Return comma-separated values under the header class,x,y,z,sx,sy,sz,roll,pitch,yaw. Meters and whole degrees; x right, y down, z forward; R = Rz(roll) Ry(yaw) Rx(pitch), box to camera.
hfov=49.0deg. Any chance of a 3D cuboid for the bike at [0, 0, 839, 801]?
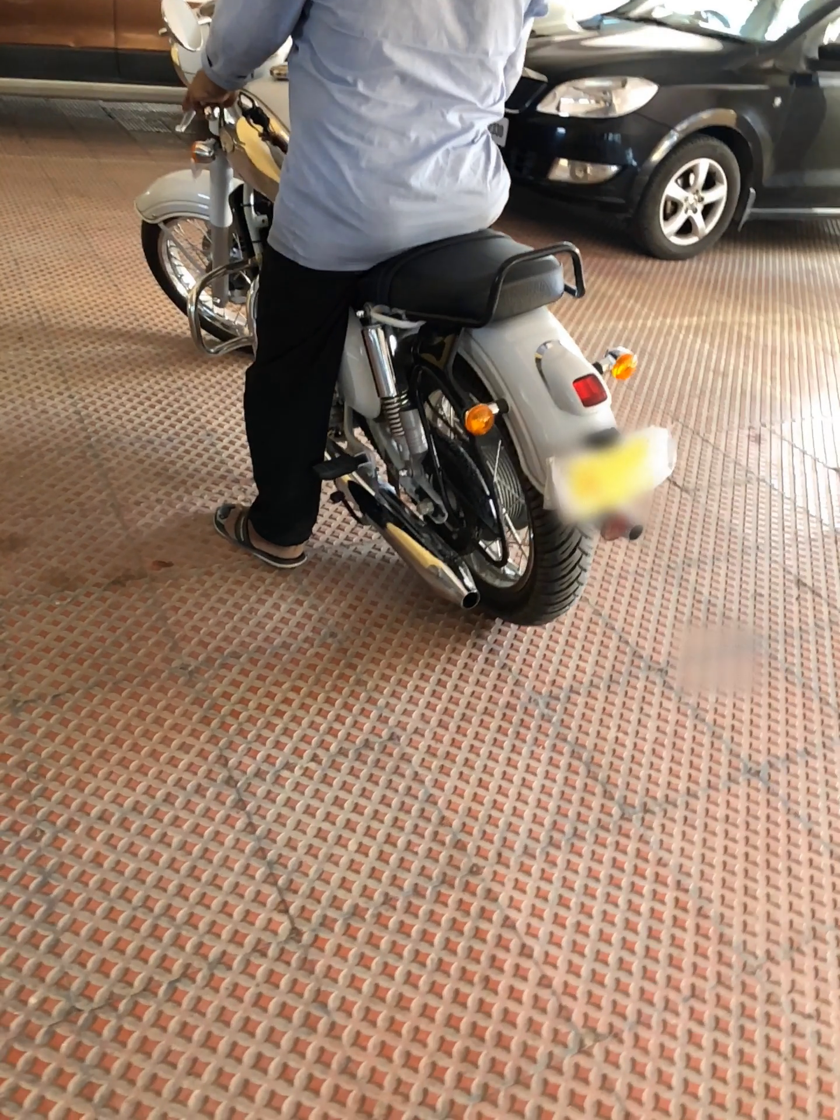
class,x,y,z,sx,sy,sz,roll,pitch,yaw
bike,-0.386,-0.688,1.995,0.847,1.233,1.902,-17,42,-34
